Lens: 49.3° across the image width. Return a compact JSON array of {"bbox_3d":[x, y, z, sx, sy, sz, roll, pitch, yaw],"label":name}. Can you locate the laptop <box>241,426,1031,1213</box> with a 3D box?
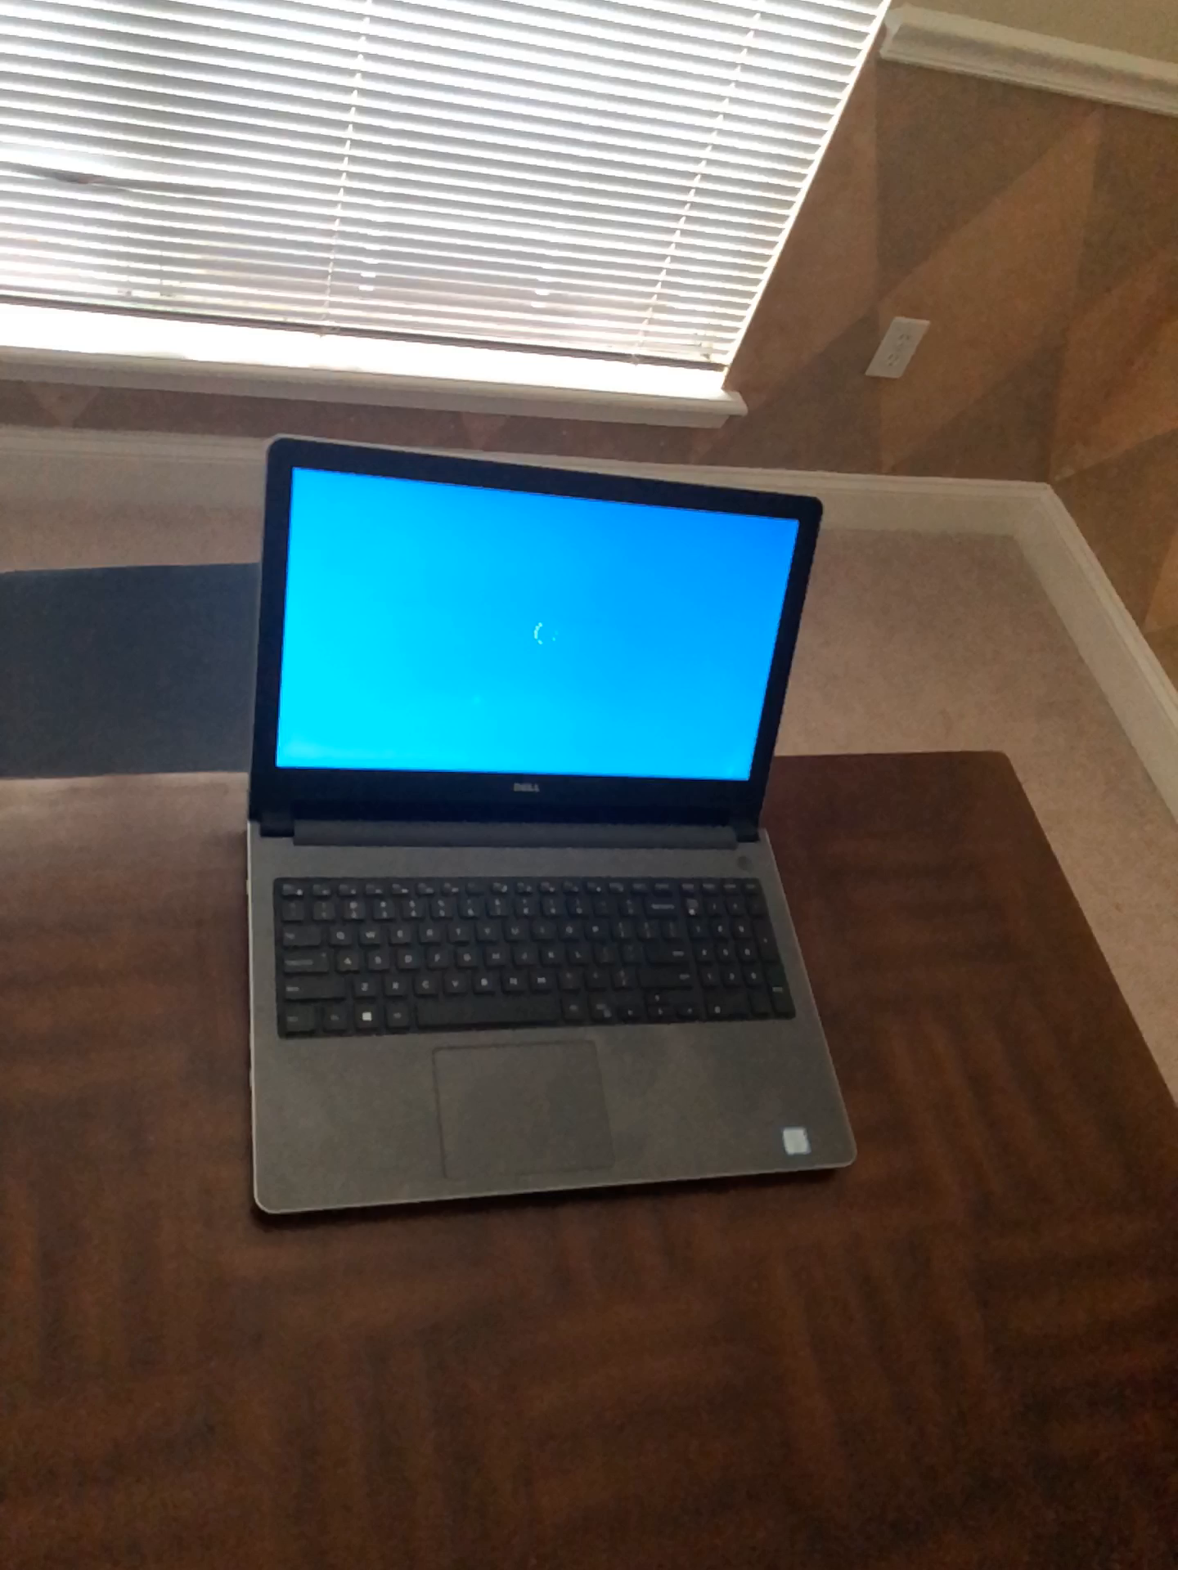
[{"bbox_3d":[-0.009,0.016,0.779,0.367,0.199,0.393,1,55,-19],"label":"laptop"}]
